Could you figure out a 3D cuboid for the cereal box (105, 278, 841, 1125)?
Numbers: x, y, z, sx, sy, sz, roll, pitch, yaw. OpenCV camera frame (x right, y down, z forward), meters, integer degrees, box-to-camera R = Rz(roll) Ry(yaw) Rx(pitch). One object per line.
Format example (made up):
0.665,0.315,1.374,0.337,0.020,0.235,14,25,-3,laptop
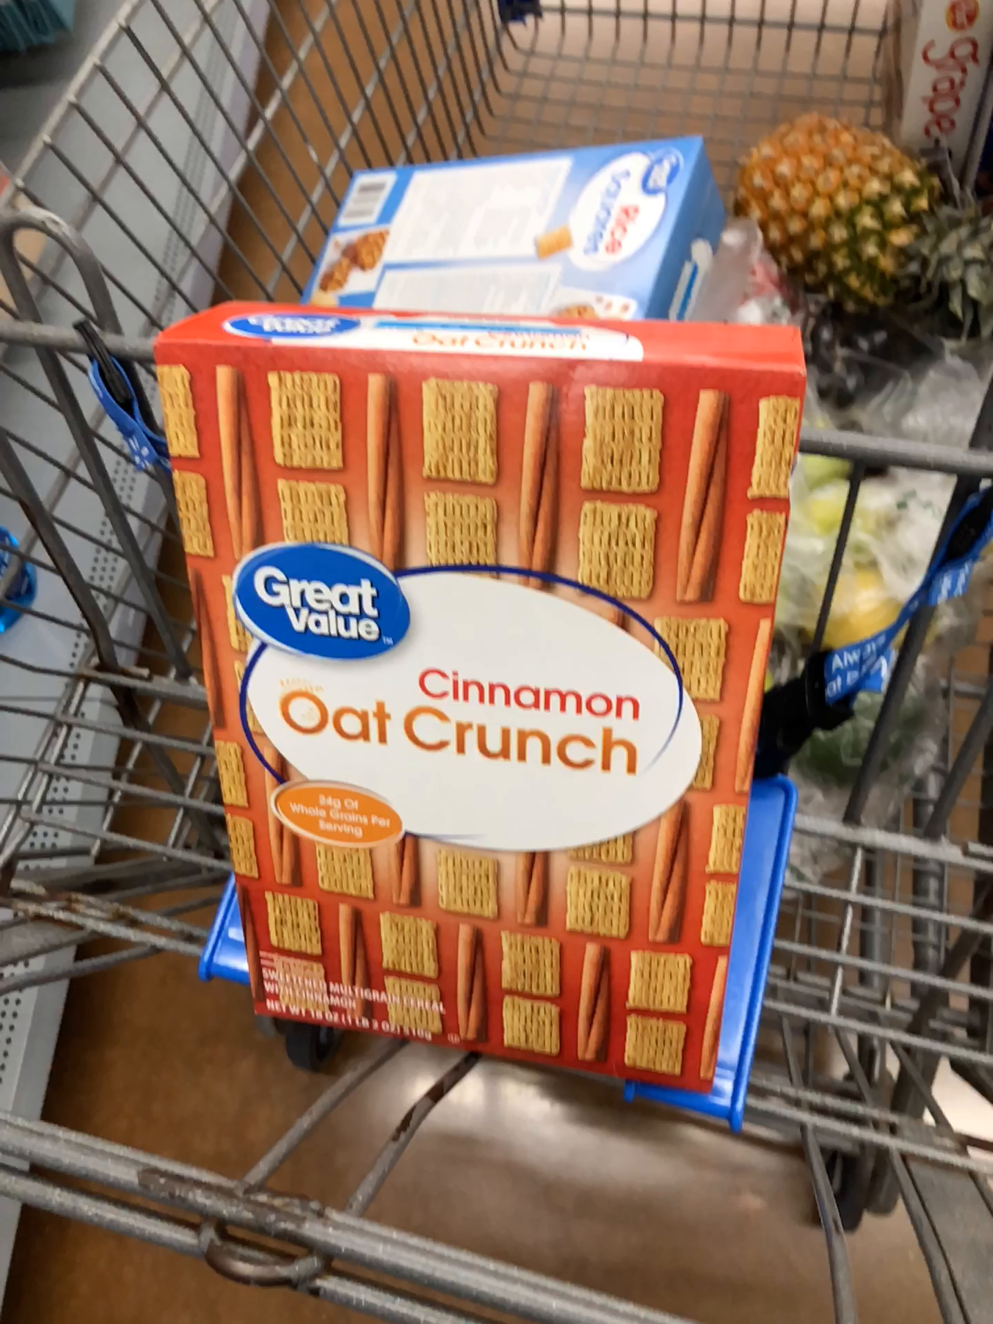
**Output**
-0.006,0.021,0.388,0.200,0.280,0.070,7,30,11,cereal box
